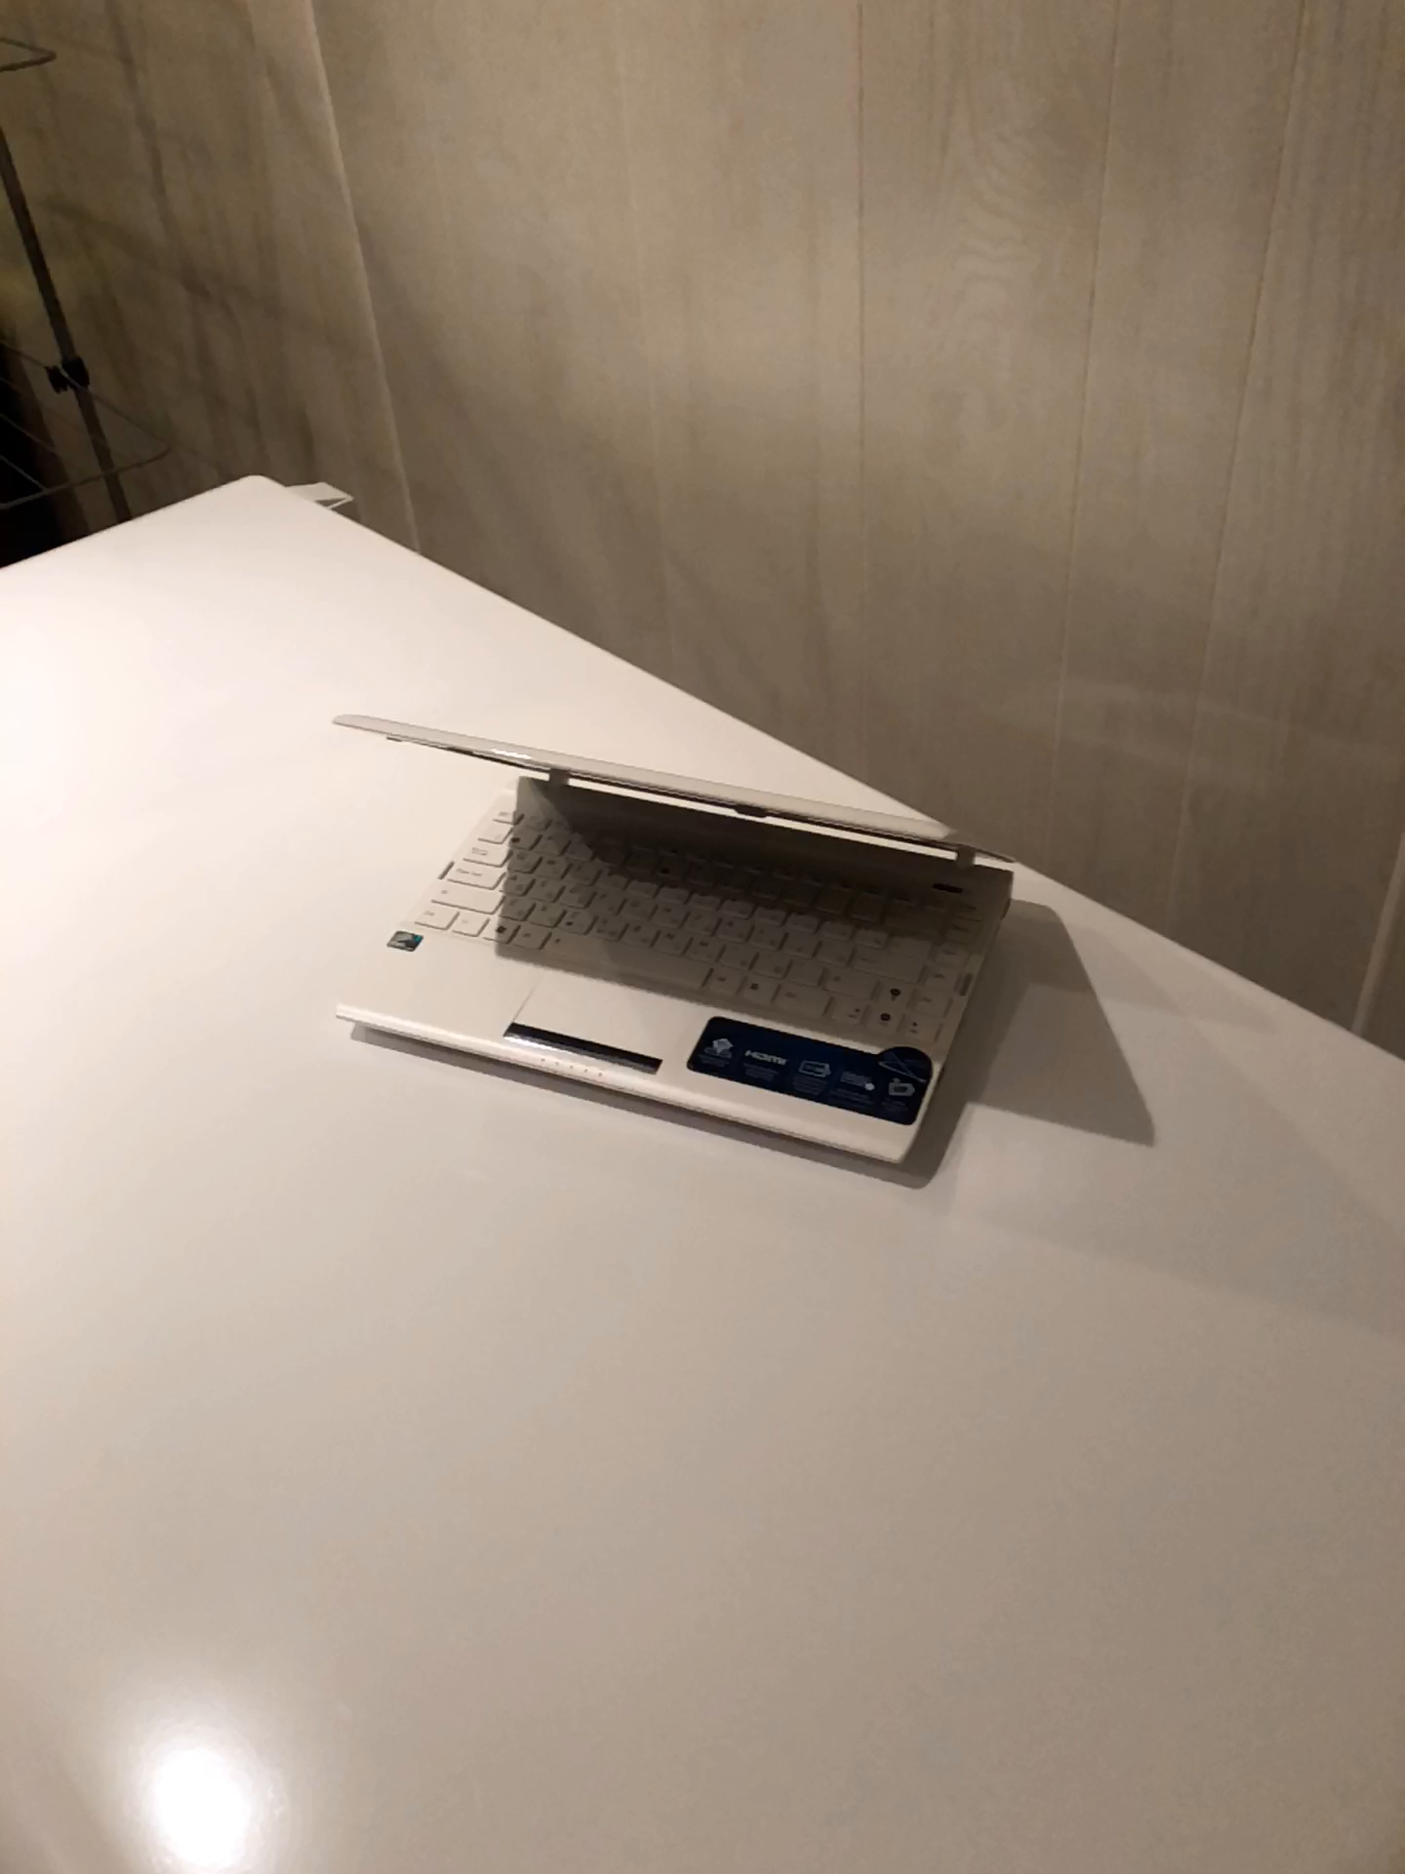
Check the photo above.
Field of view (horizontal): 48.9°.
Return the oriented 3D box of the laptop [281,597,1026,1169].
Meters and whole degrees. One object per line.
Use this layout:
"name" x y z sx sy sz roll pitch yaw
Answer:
"laptop" -0.015 -0.041 0.752 0.298 0.115 0.199 12 46 19
